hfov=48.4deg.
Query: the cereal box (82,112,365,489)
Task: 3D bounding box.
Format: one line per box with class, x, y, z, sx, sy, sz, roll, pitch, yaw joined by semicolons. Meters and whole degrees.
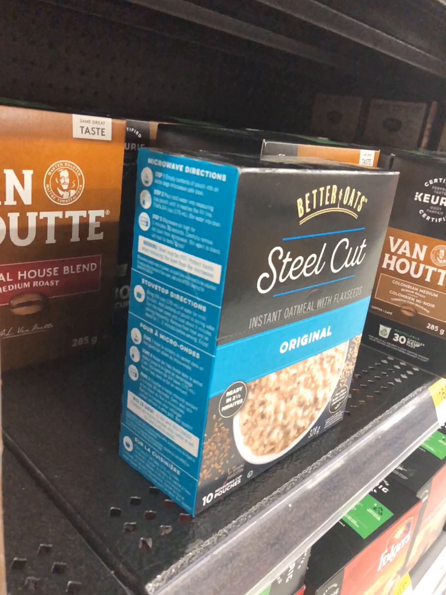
cereal box;0.003;-0.006;0.302;0.060;0.179;0.150;25;25;36
